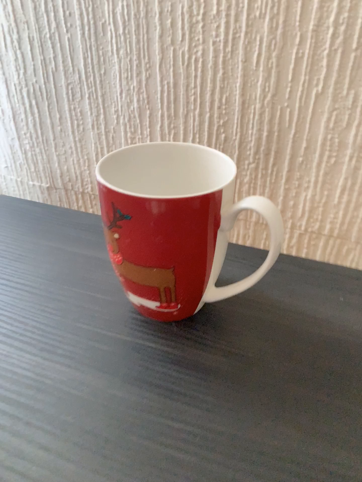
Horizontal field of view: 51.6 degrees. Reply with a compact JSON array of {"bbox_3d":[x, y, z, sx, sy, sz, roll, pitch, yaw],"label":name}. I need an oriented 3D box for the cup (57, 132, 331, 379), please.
[{"bbox_3d":[0.009,-0.002,0.240,0.130,0.089,0.091,18,38,24],"label":"cup"}]
